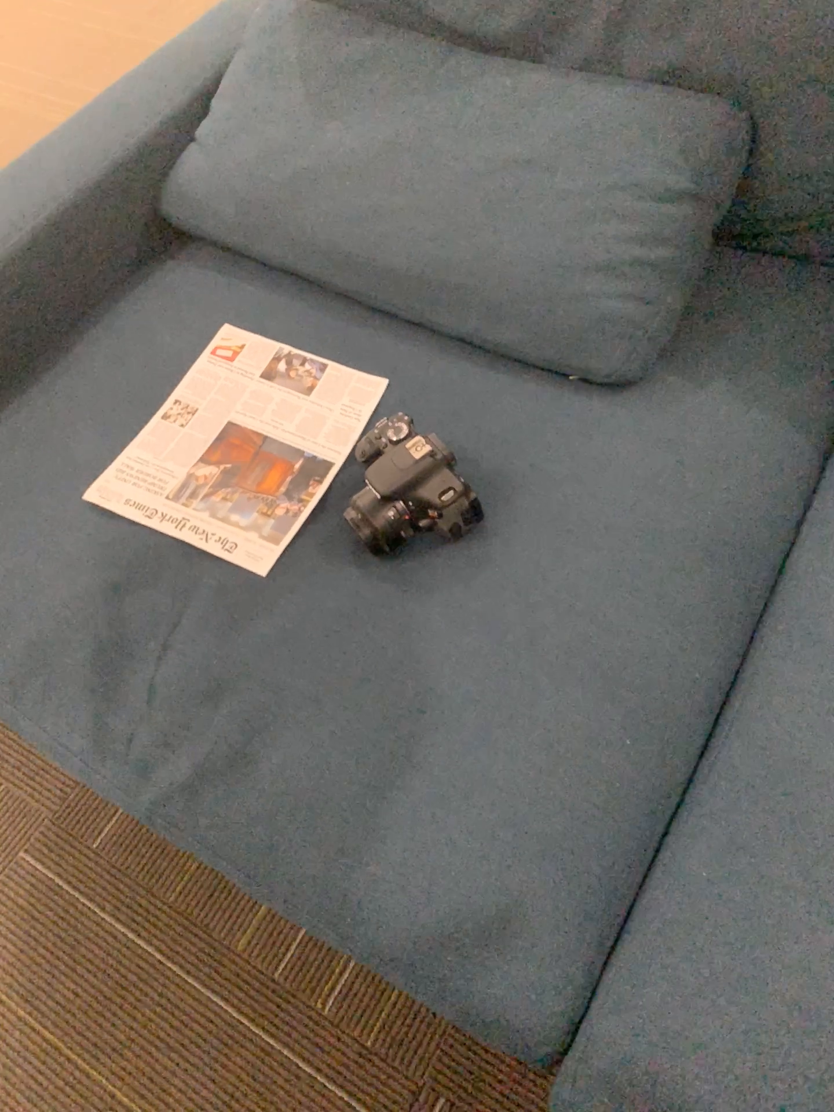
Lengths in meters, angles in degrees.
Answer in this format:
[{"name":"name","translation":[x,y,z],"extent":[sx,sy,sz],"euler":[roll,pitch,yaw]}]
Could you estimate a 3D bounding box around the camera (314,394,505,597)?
[{"name":"camera","translation":[-0.006,-0.055,0.800],"extent":[0.108,0.100,0.120],"euler":[-38,60,-2]}]
